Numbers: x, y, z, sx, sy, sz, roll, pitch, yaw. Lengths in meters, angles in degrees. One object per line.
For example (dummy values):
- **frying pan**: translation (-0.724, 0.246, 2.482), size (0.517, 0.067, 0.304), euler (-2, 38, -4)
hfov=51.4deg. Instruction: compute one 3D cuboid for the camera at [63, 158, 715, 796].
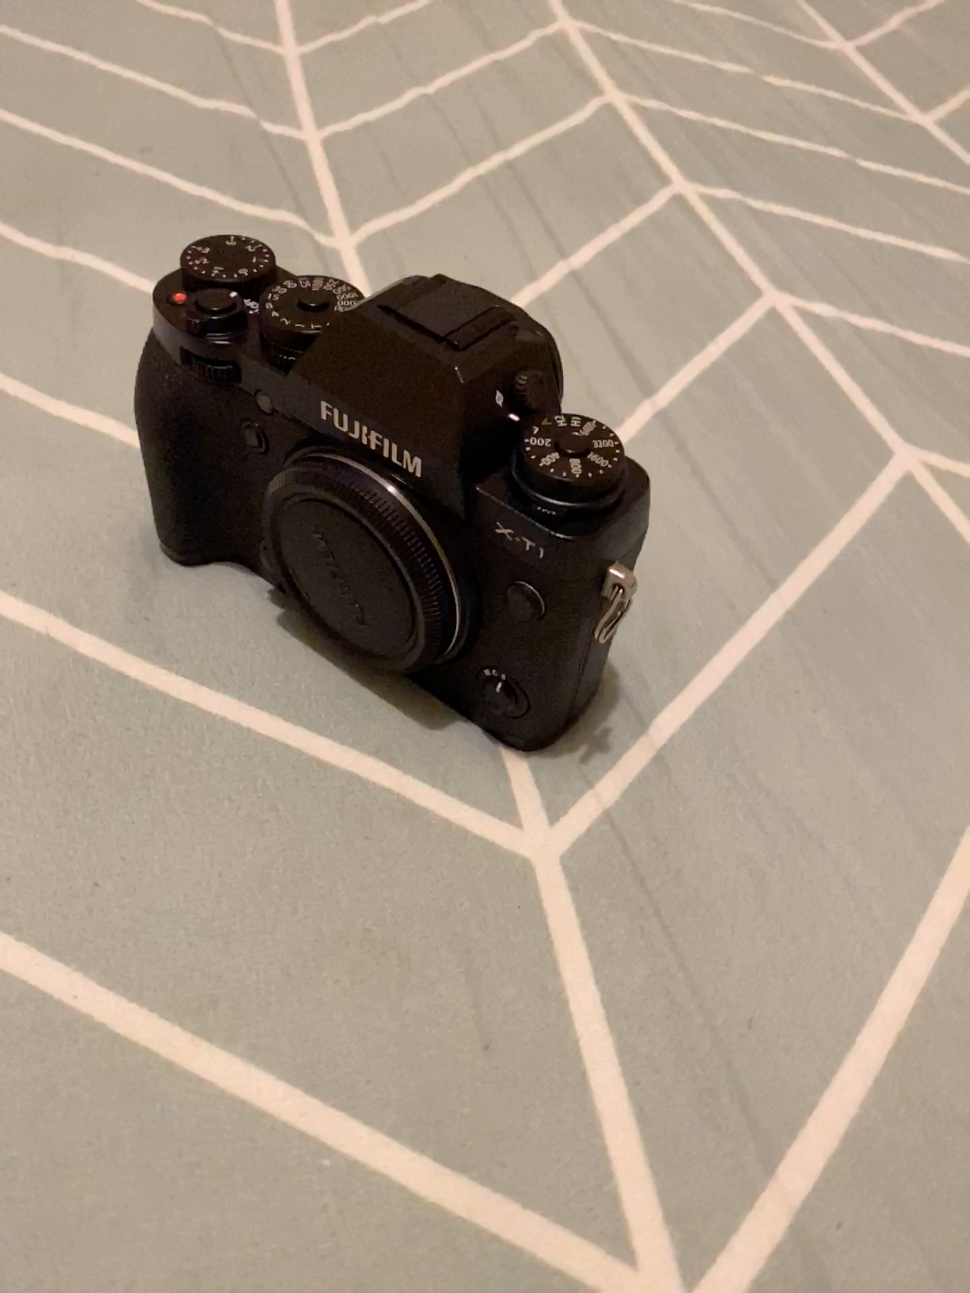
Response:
- **camera**: translation (-0.026, -0.041, 0.237), size (0.130, 0.087, 0.052), euler (33, 54, 20)
